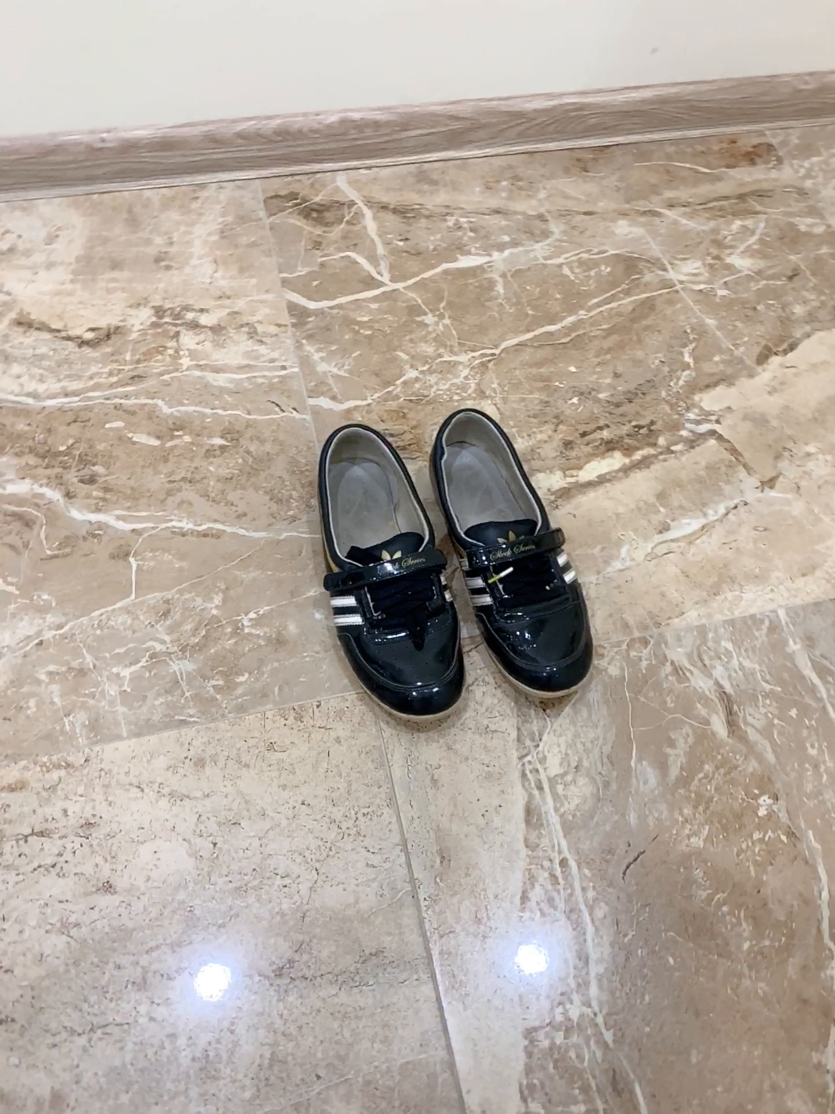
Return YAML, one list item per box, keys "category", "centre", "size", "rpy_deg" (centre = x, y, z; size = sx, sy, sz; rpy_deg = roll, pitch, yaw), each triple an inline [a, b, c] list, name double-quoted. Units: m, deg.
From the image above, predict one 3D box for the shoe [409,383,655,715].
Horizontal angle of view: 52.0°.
- category: "shoe"
  centre: [0.076, -0.014, 0.648]
  size: [0.095, 0.060, 0.241]
  rpy_deg: [-13, 61, -12]

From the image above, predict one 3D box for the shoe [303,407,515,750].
- category: "shoe"
  centre: [-0.014, 0.008, 0.630]
  size: [0.095, 0.060, 0.241]
  rpy_deg: [-10, 61, -10]
